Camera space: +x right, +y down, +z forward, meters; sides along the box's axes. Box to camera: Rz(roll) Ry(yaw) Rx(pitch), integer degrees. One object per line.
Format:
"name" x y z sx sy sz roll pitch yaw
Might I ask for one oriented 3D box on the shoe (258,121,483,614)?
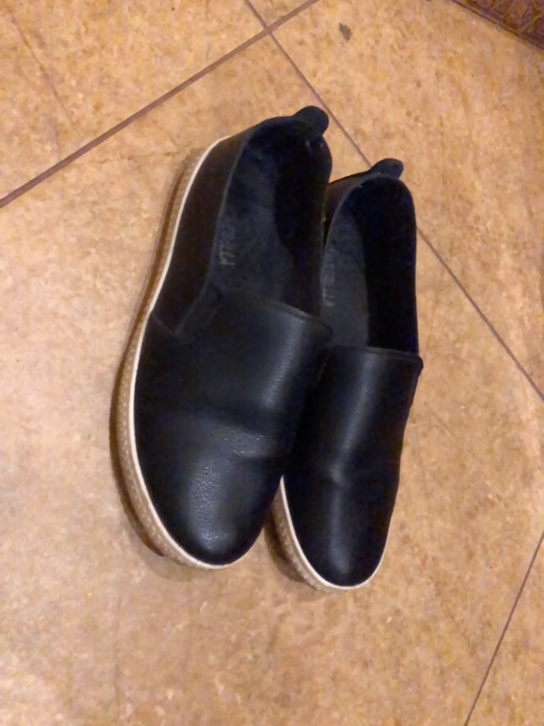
"shoe" 0.052 0.003 0.336 0.090 0.070 0.240 10 74 -30

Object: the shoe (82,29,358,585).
"shoe" -0.020 -0.023 0.295 0.090 0.070 0.240 14 72 -29
